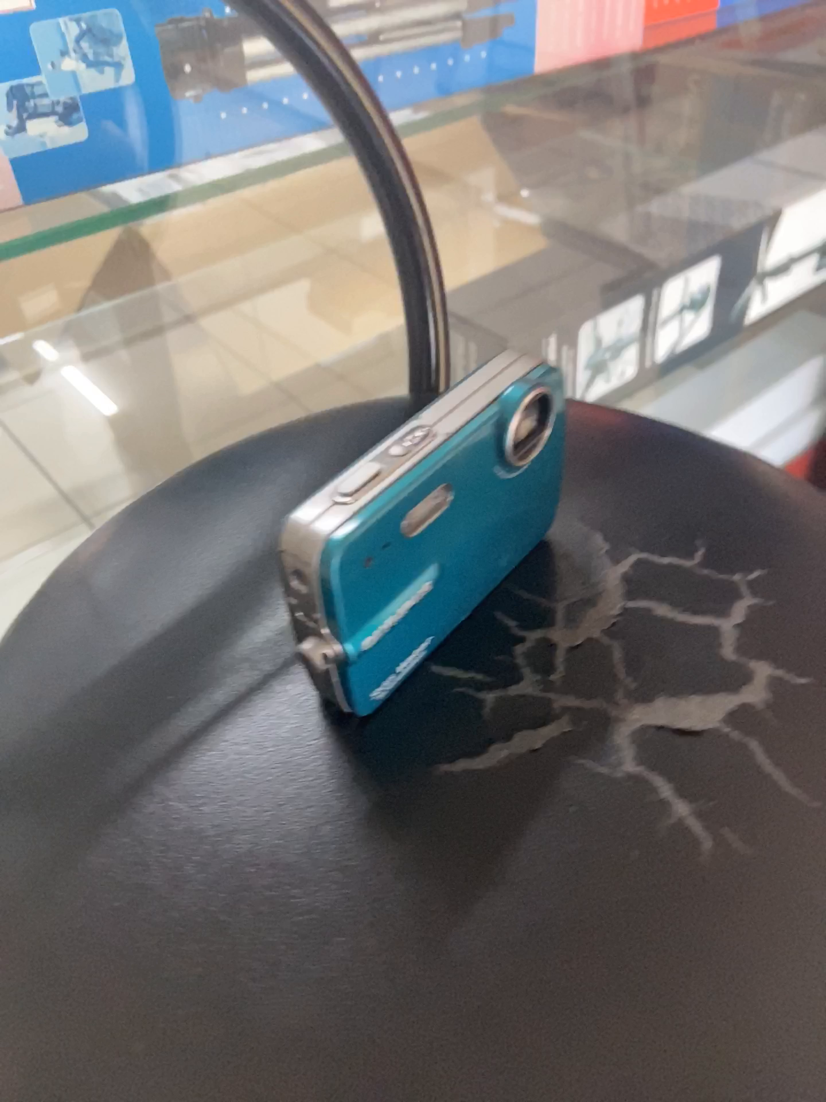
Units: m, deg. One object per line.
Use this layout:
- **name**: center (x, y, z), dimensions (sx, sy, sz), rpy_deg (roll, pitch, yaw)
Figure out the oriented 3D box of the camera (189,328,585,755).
- **camera**: center (0.000, -0.007, 0.207), dimensions (0.030, 0.050, 0.100), rpy_deg (27, 51, 31)
